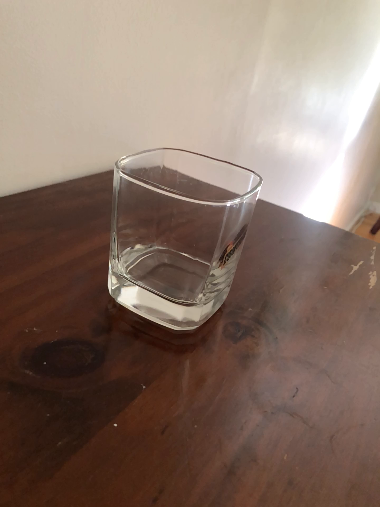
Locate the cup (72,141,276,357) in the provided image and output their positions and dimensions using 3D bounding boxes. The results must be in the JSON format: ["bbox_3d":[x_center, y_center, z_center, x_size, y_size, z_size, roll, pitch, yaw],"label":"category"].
[{"bbox_3d":[-0.009,-0.010,0.258,0.080,0.085,0.087,9,27,-5],"label":"cup"}]
